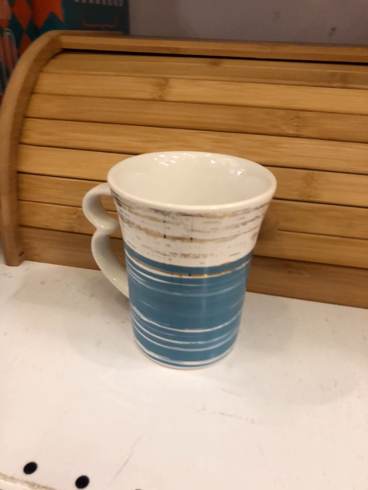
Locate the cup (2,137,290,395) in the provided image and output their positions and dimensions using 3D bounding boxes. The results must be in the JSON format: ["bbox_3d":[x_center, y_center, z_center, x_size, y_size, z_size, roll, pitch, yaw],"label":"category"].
[{"bbox_3d":[-0.015,0.001,0.232,0.120,0.089,0.091,13,30,19],"label":"cup"}]
